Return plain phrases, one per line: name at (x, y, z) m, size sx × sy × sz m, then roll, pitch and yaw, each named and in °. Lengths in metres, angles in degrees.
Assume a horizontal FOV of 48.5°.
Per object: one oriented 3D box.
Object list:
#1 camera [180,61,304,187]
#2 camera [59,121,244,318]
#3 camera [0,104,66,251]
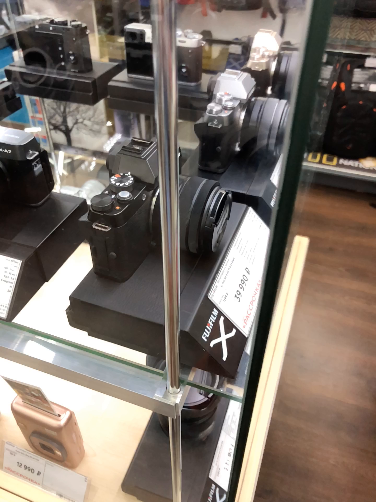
camera at (0.060, -0.143, 0.456) m, size 0.099 × 0.078 × 0.121 m, roll 14°, pitch 42°, yaw 15°
camera at (-0.021, -0.032, 0.341) m, size 0.095 × 0.090 × 0.121 m, roll 15°, pitch 43°, yaw 16°
camera at (-0.194, -0.070, 0.372) m, size 0.120 × 0.069 × 0.100 m, roll 13°, pitch 42°, yaw 13°
